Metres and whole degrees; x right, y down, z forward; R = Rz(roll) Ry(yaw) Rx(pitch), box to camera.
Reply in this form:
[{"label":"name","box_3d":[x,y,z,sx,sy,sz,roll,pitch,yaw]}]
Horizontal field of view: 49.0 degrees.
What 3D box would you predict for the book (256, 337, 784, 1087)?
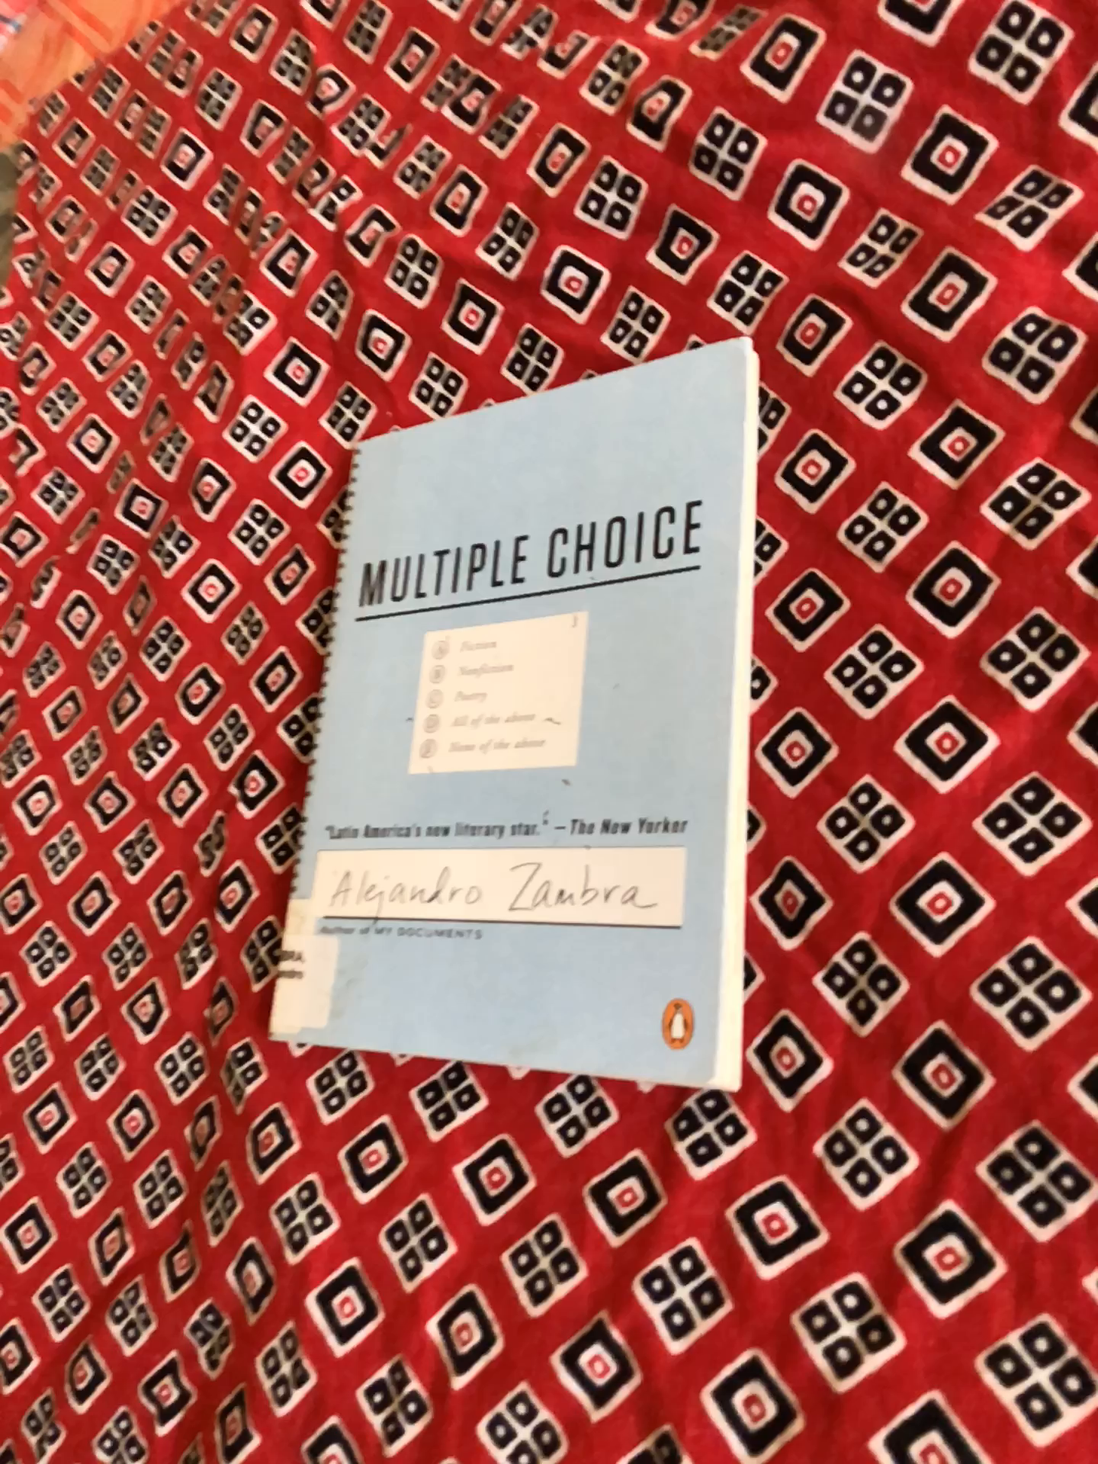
[{"label":"book","box_3d":[-0.009,-0.005,0.314,0.134,0.020,0.176,-4,73,31]}]
